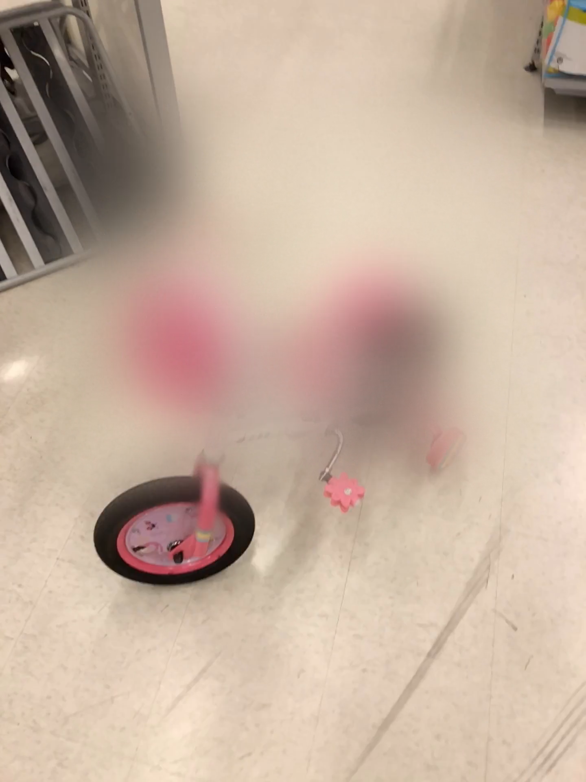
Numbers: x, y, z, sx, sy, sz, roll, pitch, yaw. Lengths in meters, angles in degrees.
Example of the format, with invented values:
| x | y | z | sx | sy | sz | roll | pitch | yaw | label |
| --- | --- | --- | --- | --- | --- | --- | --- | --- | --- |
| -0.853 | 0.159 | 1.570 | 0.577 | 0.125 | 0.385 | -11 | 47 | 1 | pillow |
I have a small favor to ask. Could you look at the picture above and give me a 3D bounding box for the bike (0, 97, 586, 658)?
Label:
| x | y | z | sx | sy | sz | roll | pitch | yaw | label |
| --- | --- | --- | --- | --- | --- | --- | --- | --- | --- |
| -0.023 | -0.021 | 1.256 | 0.879 | 0.632 | 0.458 | -32 | 59 | -19 | bike |
